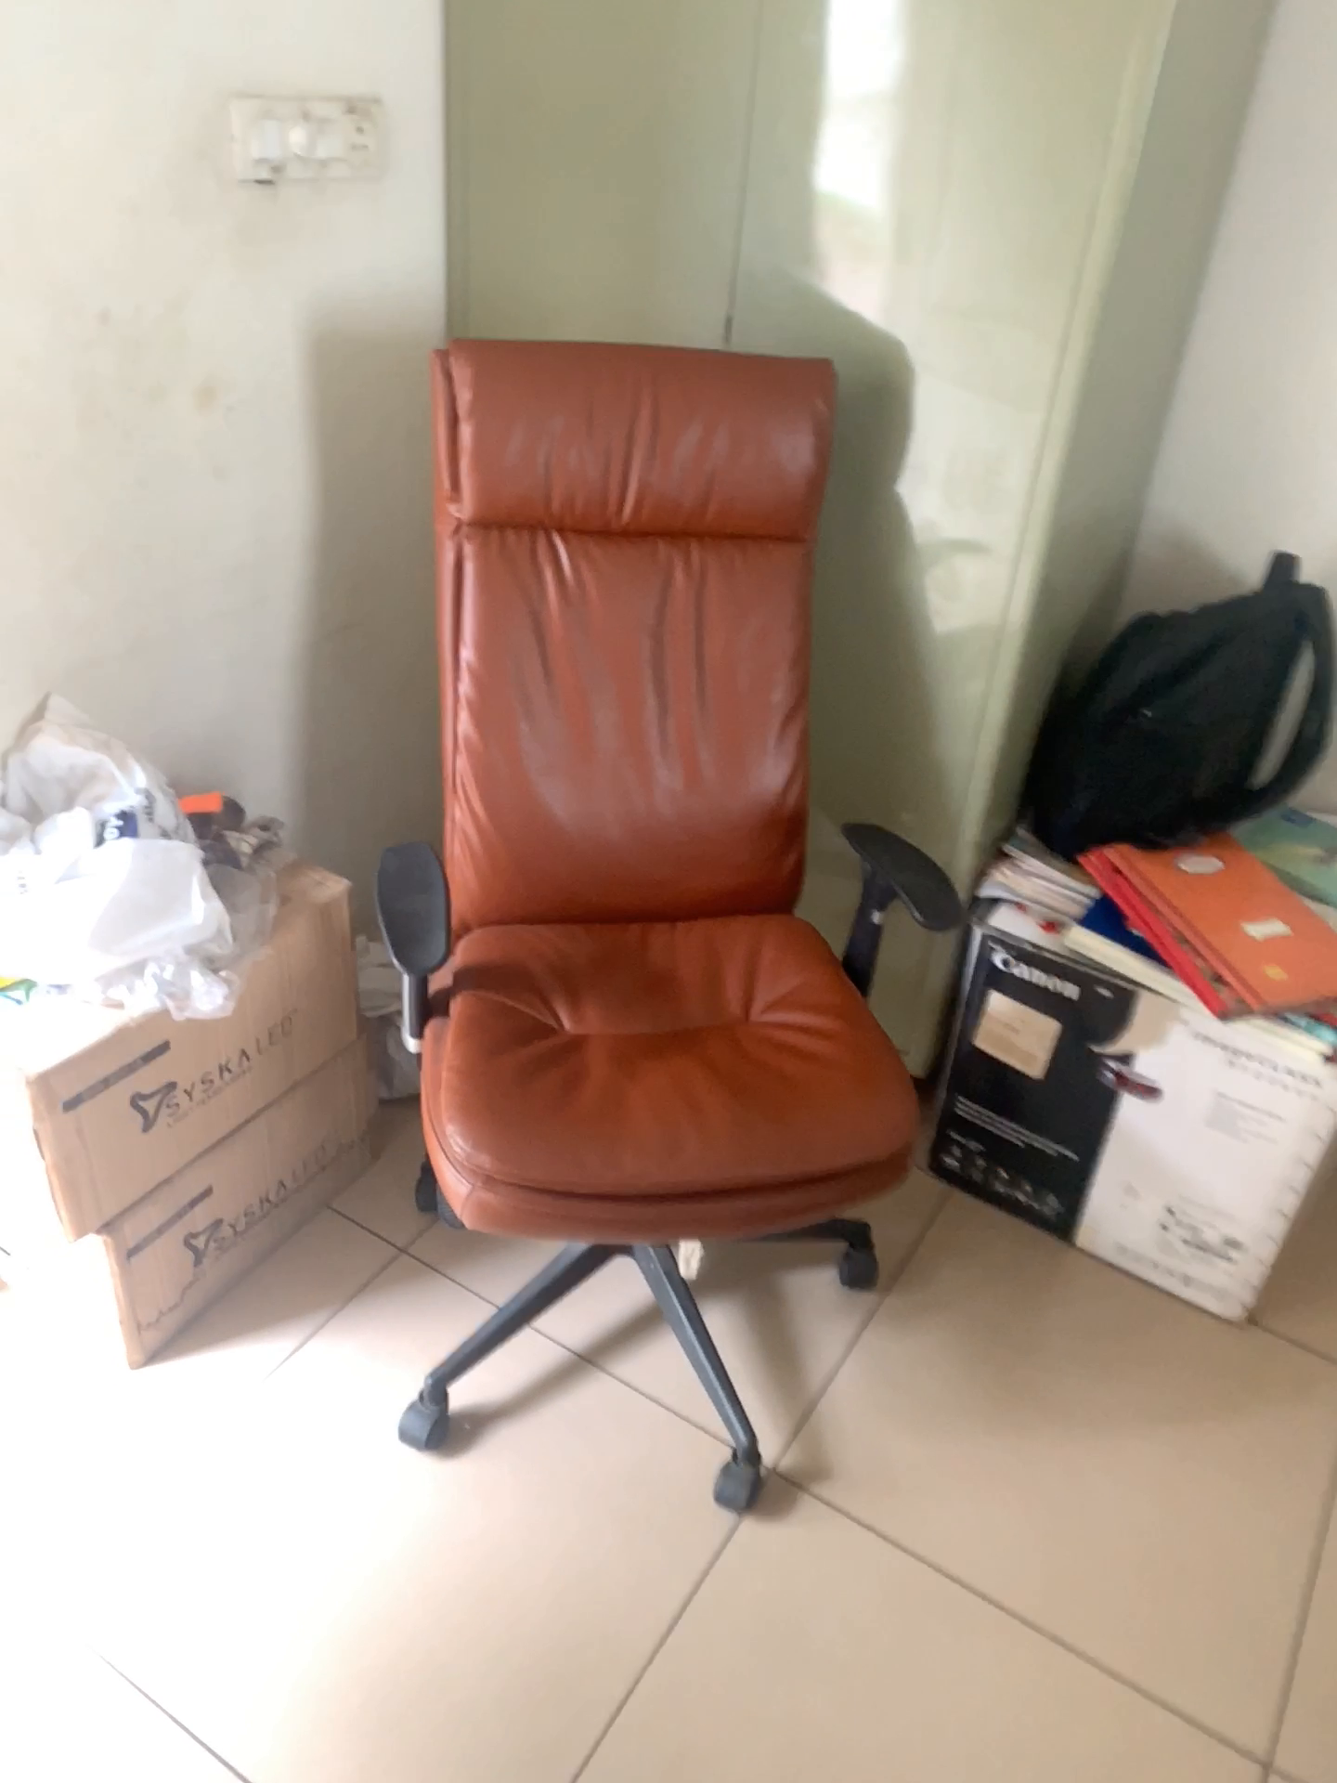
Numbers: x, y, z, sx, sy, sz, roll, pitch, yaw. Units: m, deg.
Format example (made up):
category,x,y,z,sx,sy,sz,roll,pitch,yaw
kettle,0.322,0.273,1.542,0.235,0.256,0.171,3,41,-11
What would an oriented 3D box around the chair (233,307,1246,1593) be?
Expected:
category,x,y,z,sx,sy,sz,roll,pitch,yaw
chair,-0.053,0.011,1.569,0.690,1.085,0.934,-2,34,-11
